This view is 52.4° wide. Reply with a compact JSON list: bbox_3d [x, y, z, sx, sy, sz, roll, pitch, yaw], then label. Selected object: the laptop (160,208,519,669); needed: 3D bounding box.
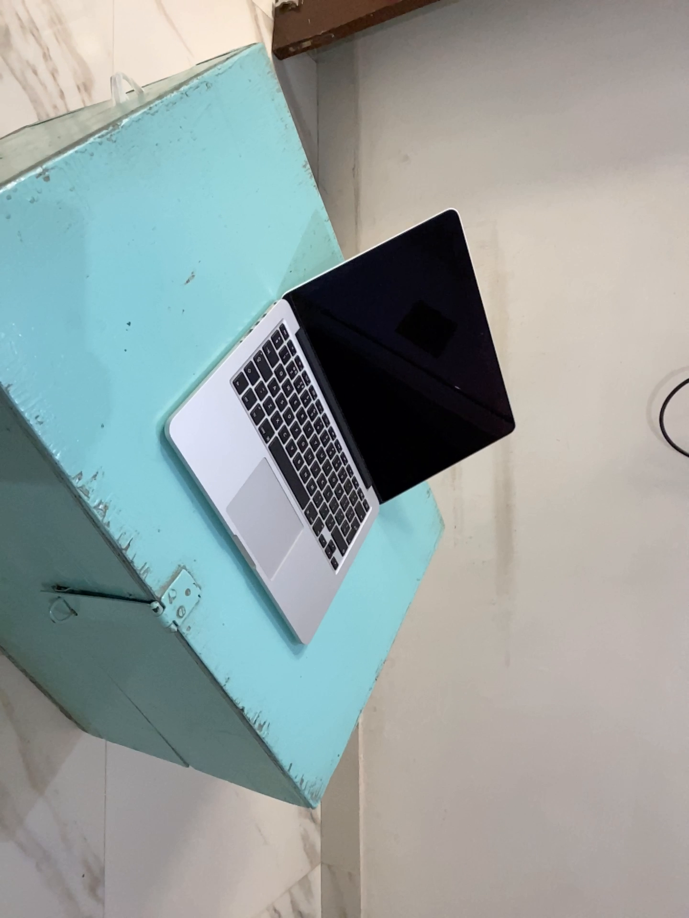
[{"bbox_3d":[0.038,-0.029,0.770,0.378,0.148,0.314,-59,137,-39],"label":"laptop"}]
